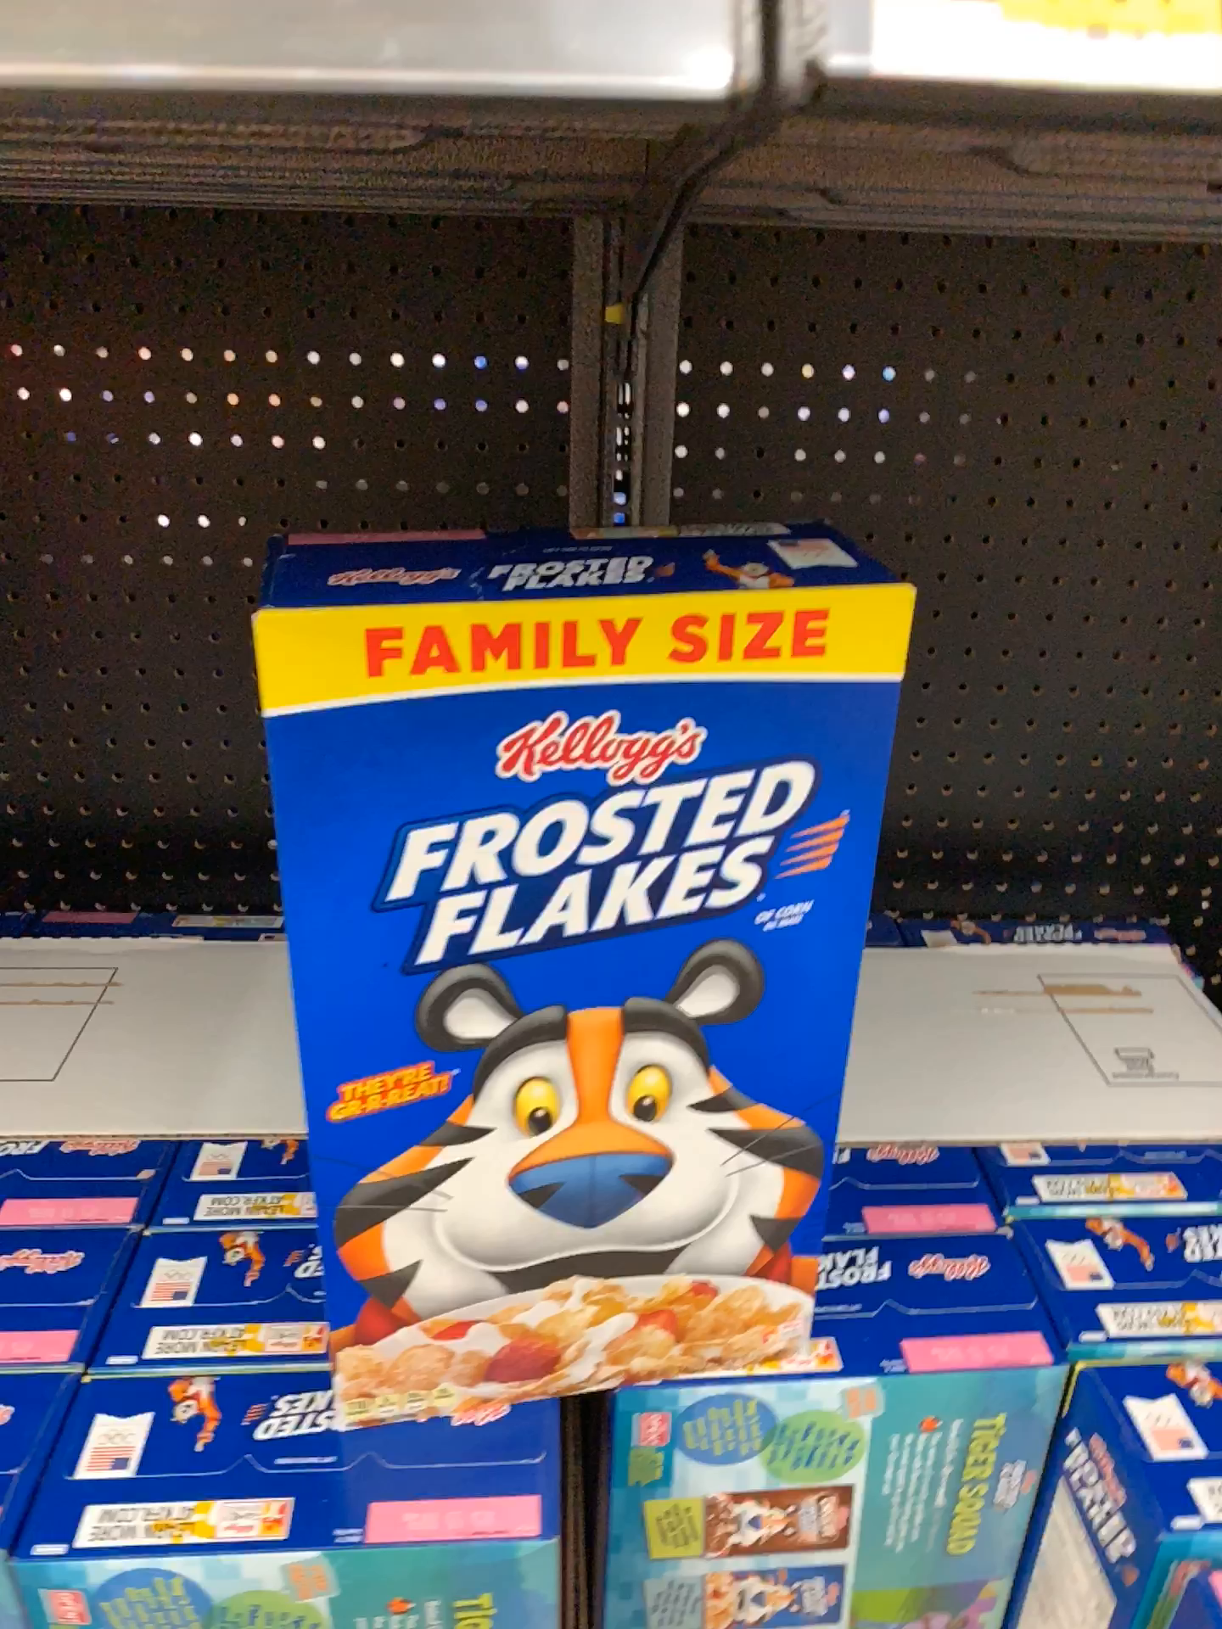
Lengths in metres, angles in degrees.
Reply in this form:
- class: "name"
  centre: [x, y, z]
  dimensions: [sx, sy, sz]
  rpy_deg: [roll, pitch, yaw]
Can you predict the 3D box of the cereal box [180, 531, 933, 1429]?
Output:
- class: "cereal box"
  centre: [-0.022, 0.067, 0.454]
  dimensions: [0.210, 0.318, 0.080]
  rpy_deg: [-3, 28, -10]
